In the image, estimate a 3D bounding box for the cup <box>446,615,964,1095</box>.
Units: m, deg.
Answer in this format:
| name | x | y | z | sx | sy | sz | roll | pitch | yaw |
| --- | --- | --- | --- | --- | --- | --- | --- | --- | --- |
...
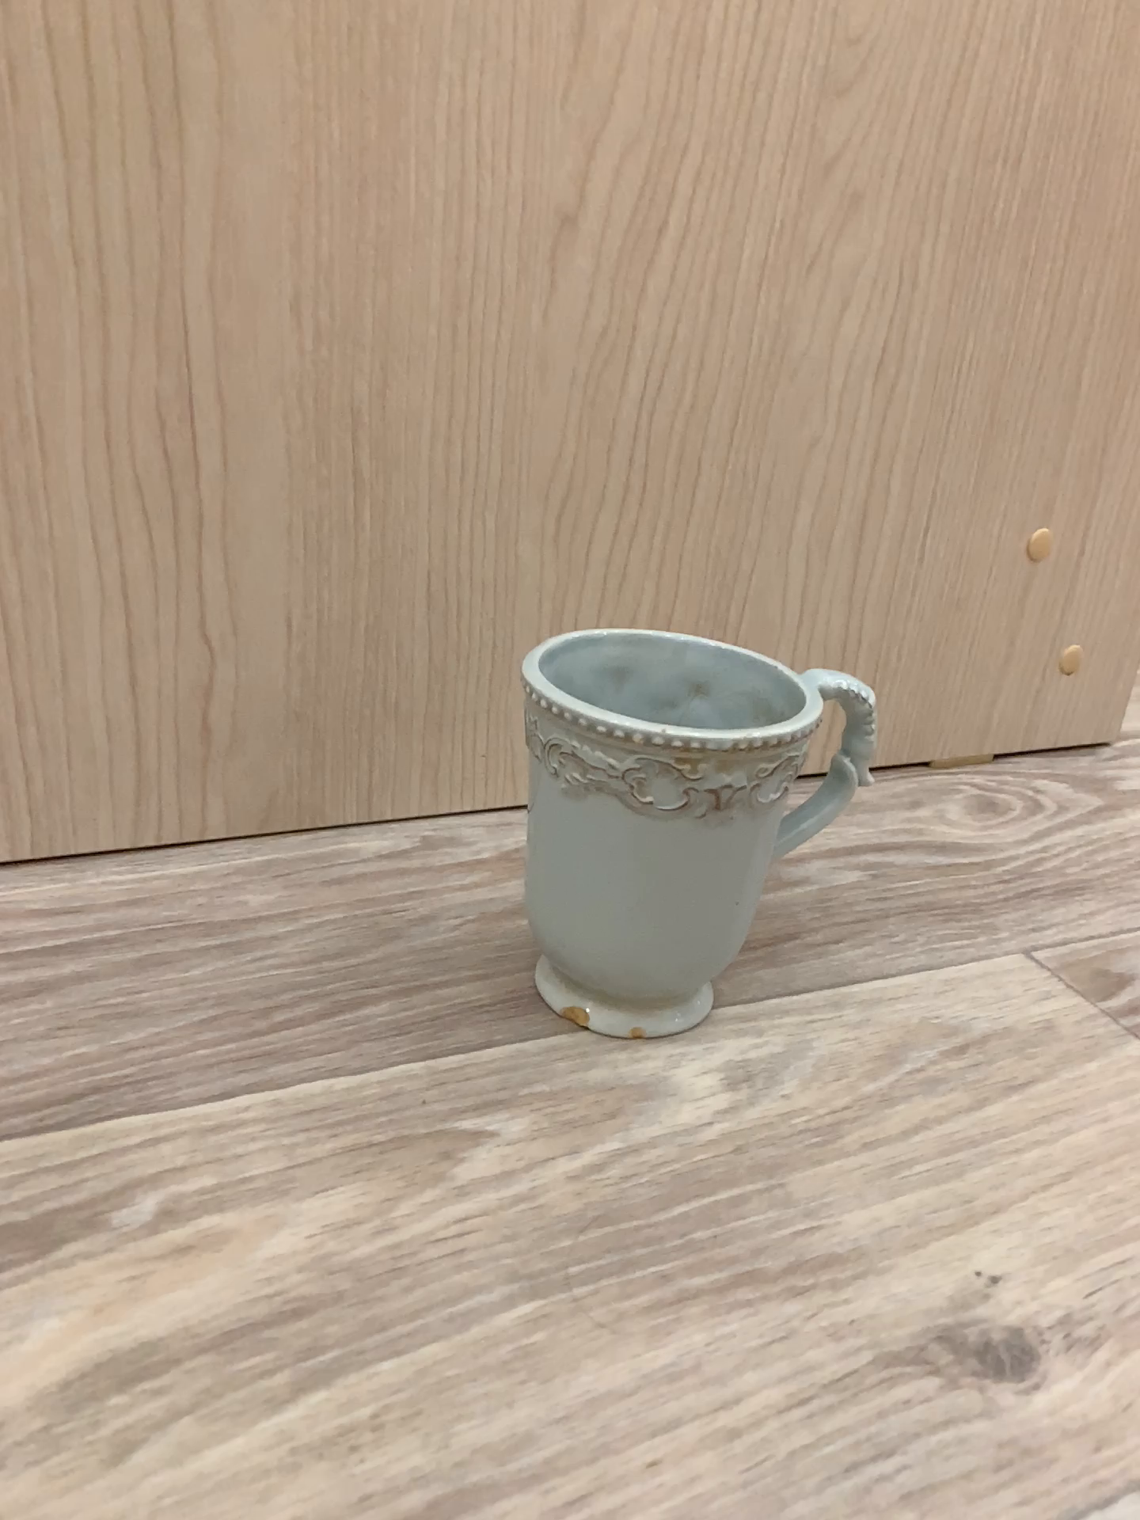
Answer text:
| name | x | y | z | sx | sy | sz | roll | pitch | yaw |
| --- | --- | --- | --- | --- | --- | --- | --- | --- | --- |
| cup | 0.036 | 0.020 | 0.359 | 0.118 | 0.102 | 0.083 | -8 | 27 | -30 |
